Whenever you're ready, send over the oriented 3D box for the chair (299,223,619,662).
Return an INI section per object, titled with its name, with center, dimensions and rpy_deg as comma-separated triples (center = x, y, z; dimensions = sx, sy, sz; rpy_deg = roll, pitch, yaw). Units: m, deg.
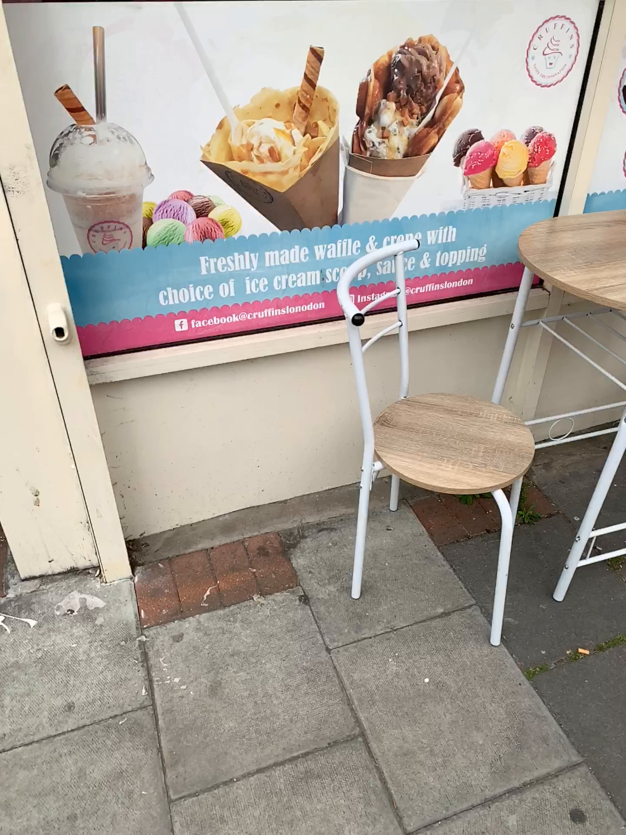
[chair]
center = 0.282, 0.037, 1.434
dimensions = 0.500, 0.753, 0.535
rpy_deg = 8, 35, 11
